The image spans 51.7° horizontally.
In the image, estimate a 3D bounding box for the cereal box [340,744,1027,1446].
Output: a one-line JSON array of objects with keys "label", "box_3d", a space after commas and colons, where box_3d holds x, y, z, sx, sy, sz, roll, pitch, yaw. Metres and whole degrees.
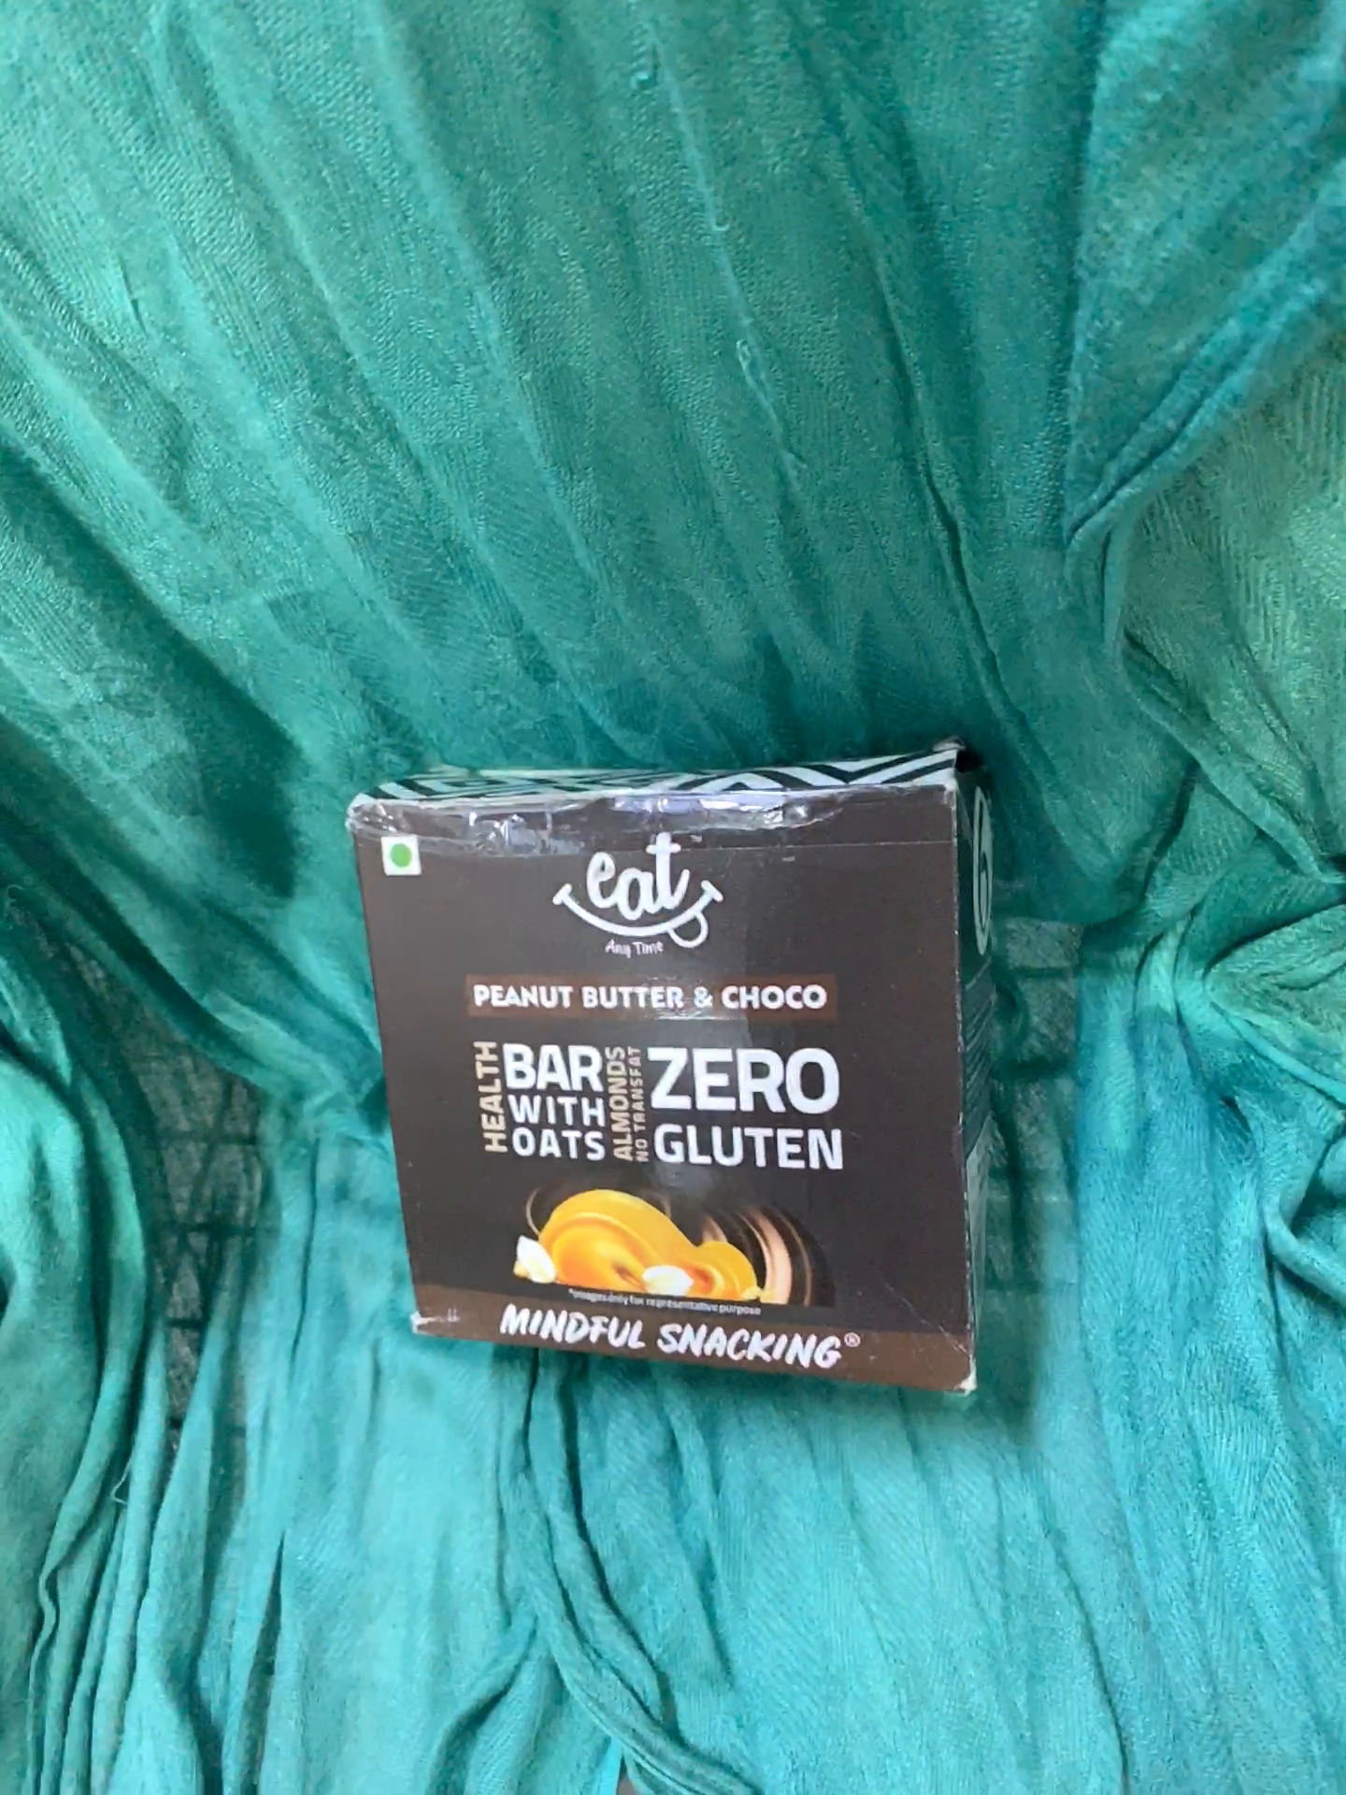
[{"label": "cereal box", "box_3d": [0.010, 0.038, 0.342, 0.140, 0.090, 0.140, -1, 98, 19]}]
